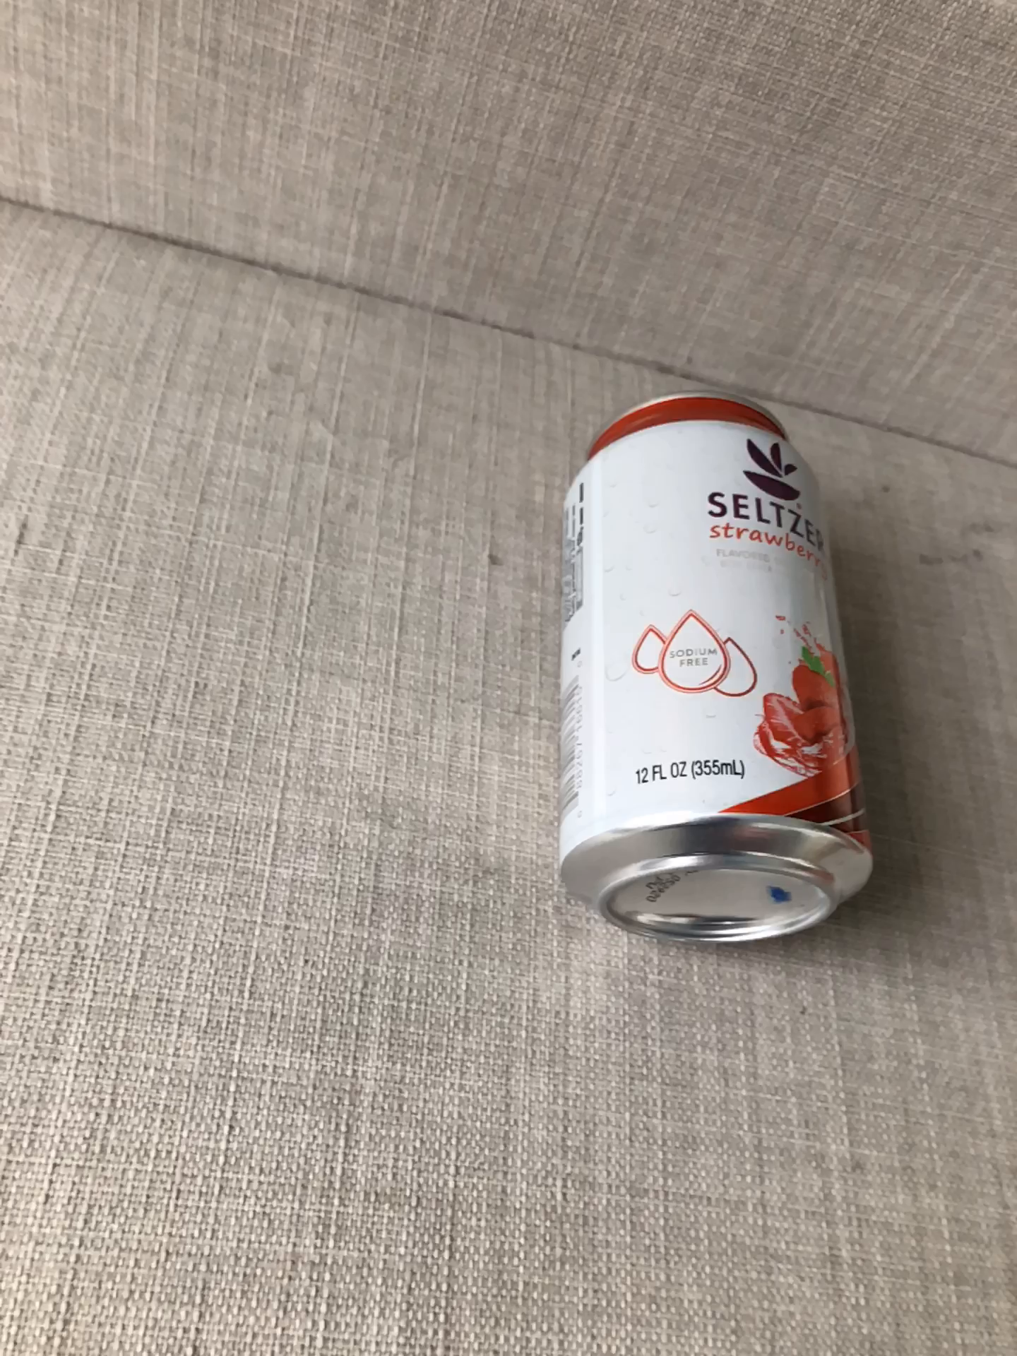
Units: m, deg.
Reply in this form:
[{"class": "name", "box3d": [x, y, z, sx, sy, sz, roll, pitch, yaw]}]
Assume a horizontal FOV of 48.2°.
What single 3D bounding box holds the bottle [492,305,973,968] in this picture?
[{"class": "bottle", "box3d": [0.043, -0.007, 0.256, 0.070, 0.069, 0.121, 11, 60, -15]}]
